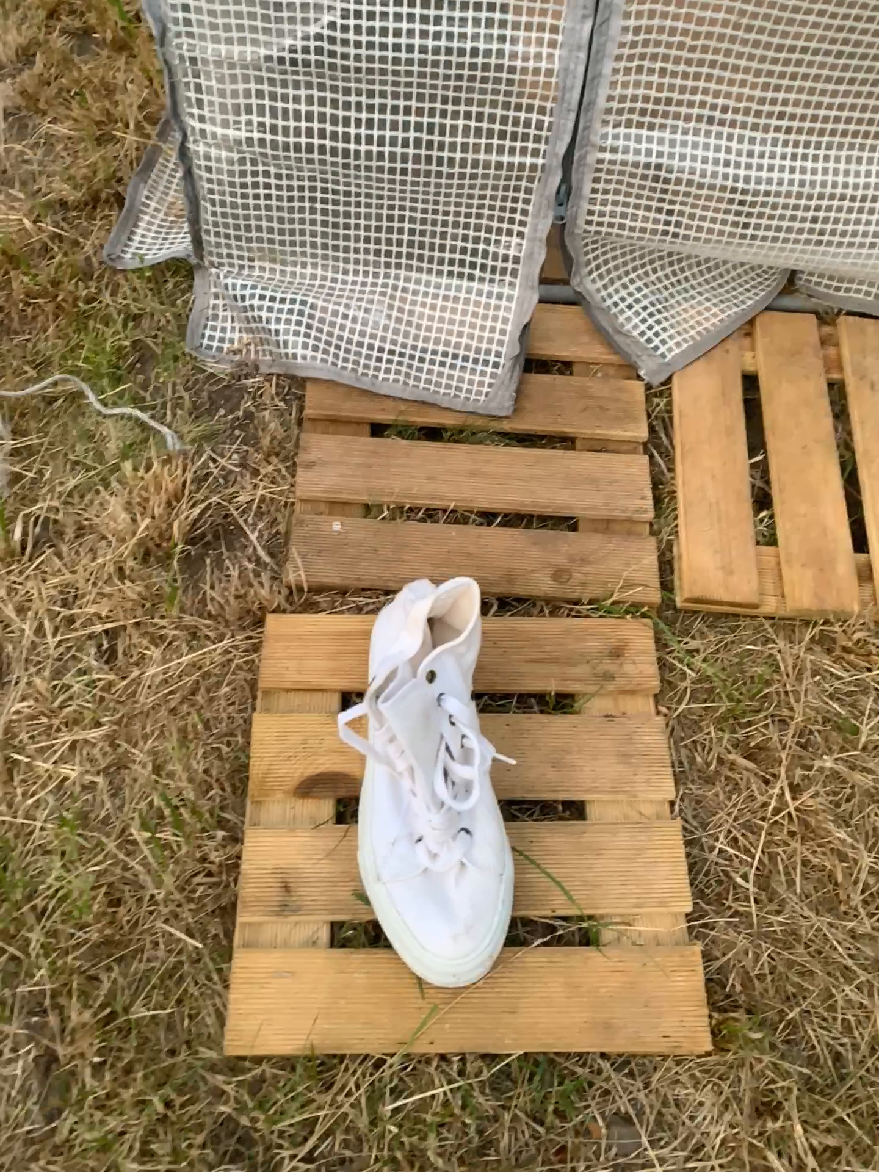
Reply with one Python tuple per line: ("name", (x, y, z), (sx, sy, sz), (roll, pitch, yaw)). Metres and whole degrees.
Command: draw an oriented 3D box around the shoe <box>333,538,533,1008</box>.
("shoe", (-0.002, 0.115, 0.574), (0.100, 0.129, 0.262), (3, 56, -1))
